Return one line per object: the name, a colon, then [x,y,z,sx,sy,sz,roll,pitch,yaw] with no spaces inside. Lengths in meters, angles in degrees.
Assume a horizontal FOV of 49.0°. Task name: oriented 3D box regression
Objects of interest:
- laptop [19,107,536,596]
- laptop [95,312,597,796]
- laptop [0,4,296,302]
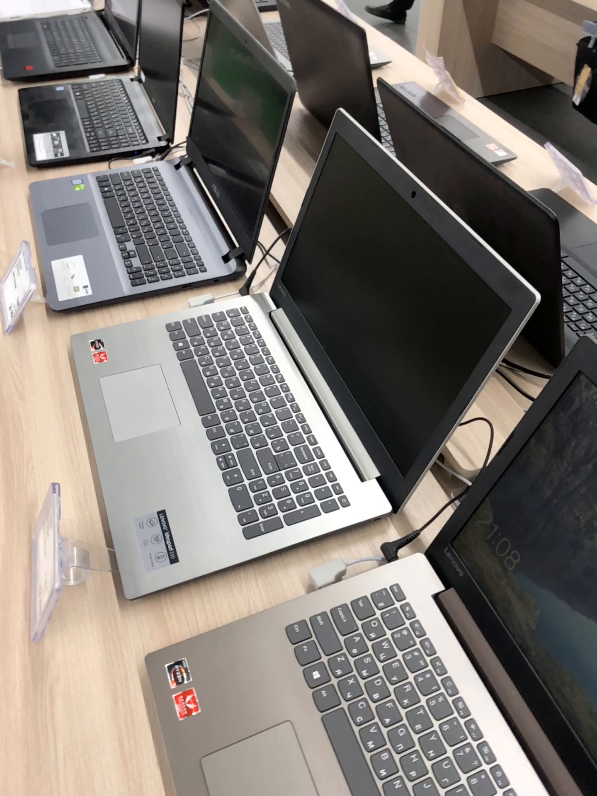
laptop: [-0.049,-0.076,0.633,0.335,0.220,0.367,-15,47,-14]
laptop: [0.097,0.197,0.354,0.326,0.222,0.358,-17,48,-15]
laptop: [-0.217,-0.348,0.895,0.318,0.232,0.328,-14,47,-13]
